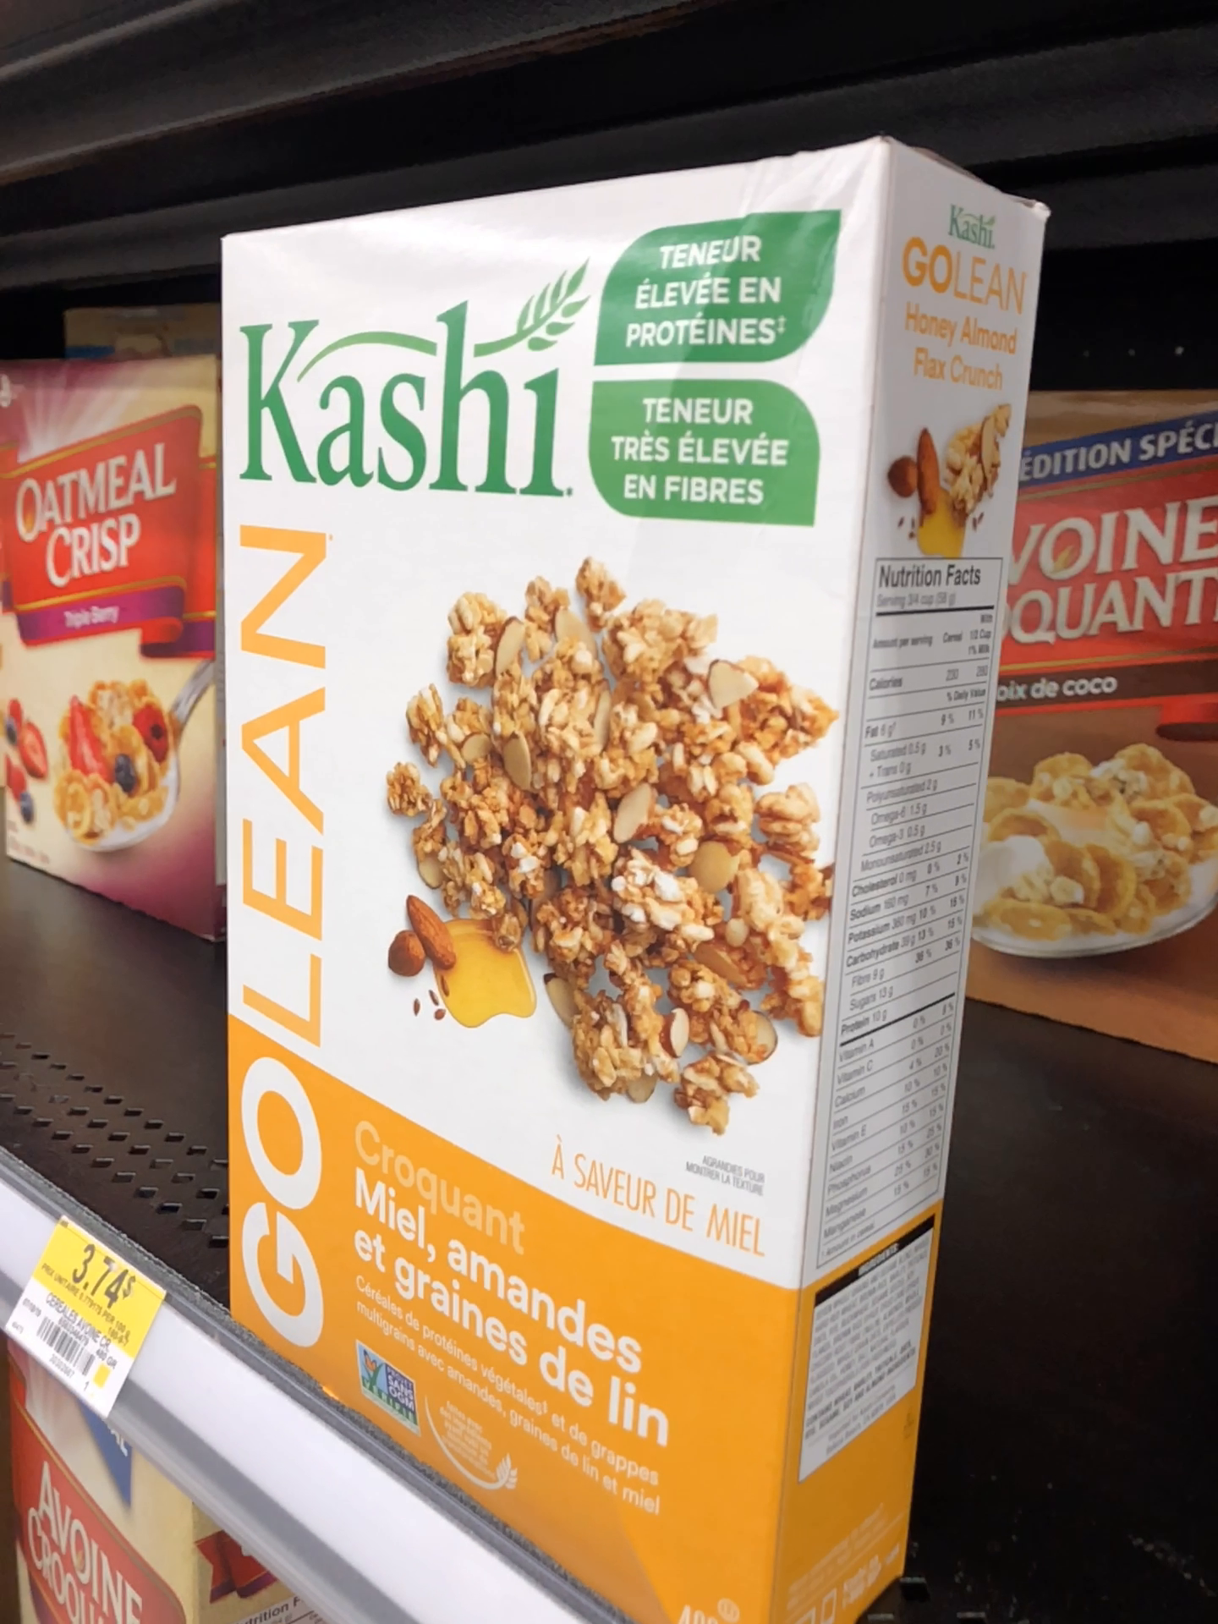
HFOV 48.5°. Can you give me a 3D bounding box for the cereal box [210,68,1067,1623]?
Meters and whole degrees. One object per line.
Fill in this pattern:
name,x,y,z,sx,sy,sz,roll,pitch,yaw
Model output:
cereal box,-0.012,0.013,0.282,0.170,0.269,0.050,14,17,41
